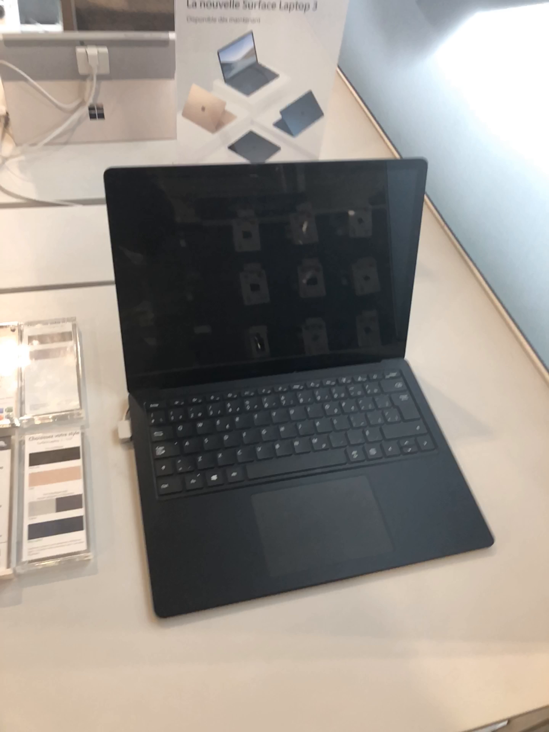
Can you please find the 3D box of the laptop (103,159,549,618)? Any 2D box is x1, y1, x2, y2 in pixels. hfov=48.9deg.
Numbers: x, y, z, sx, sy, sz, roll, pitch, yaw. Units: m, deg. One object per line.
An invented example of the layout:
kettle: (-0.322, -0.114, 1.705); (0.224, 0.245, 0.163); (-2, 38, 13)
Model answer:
laptop: (0.028, -0.004, 0.533); (0.308, 0.197, 0.314); (-7, 51, -15)
